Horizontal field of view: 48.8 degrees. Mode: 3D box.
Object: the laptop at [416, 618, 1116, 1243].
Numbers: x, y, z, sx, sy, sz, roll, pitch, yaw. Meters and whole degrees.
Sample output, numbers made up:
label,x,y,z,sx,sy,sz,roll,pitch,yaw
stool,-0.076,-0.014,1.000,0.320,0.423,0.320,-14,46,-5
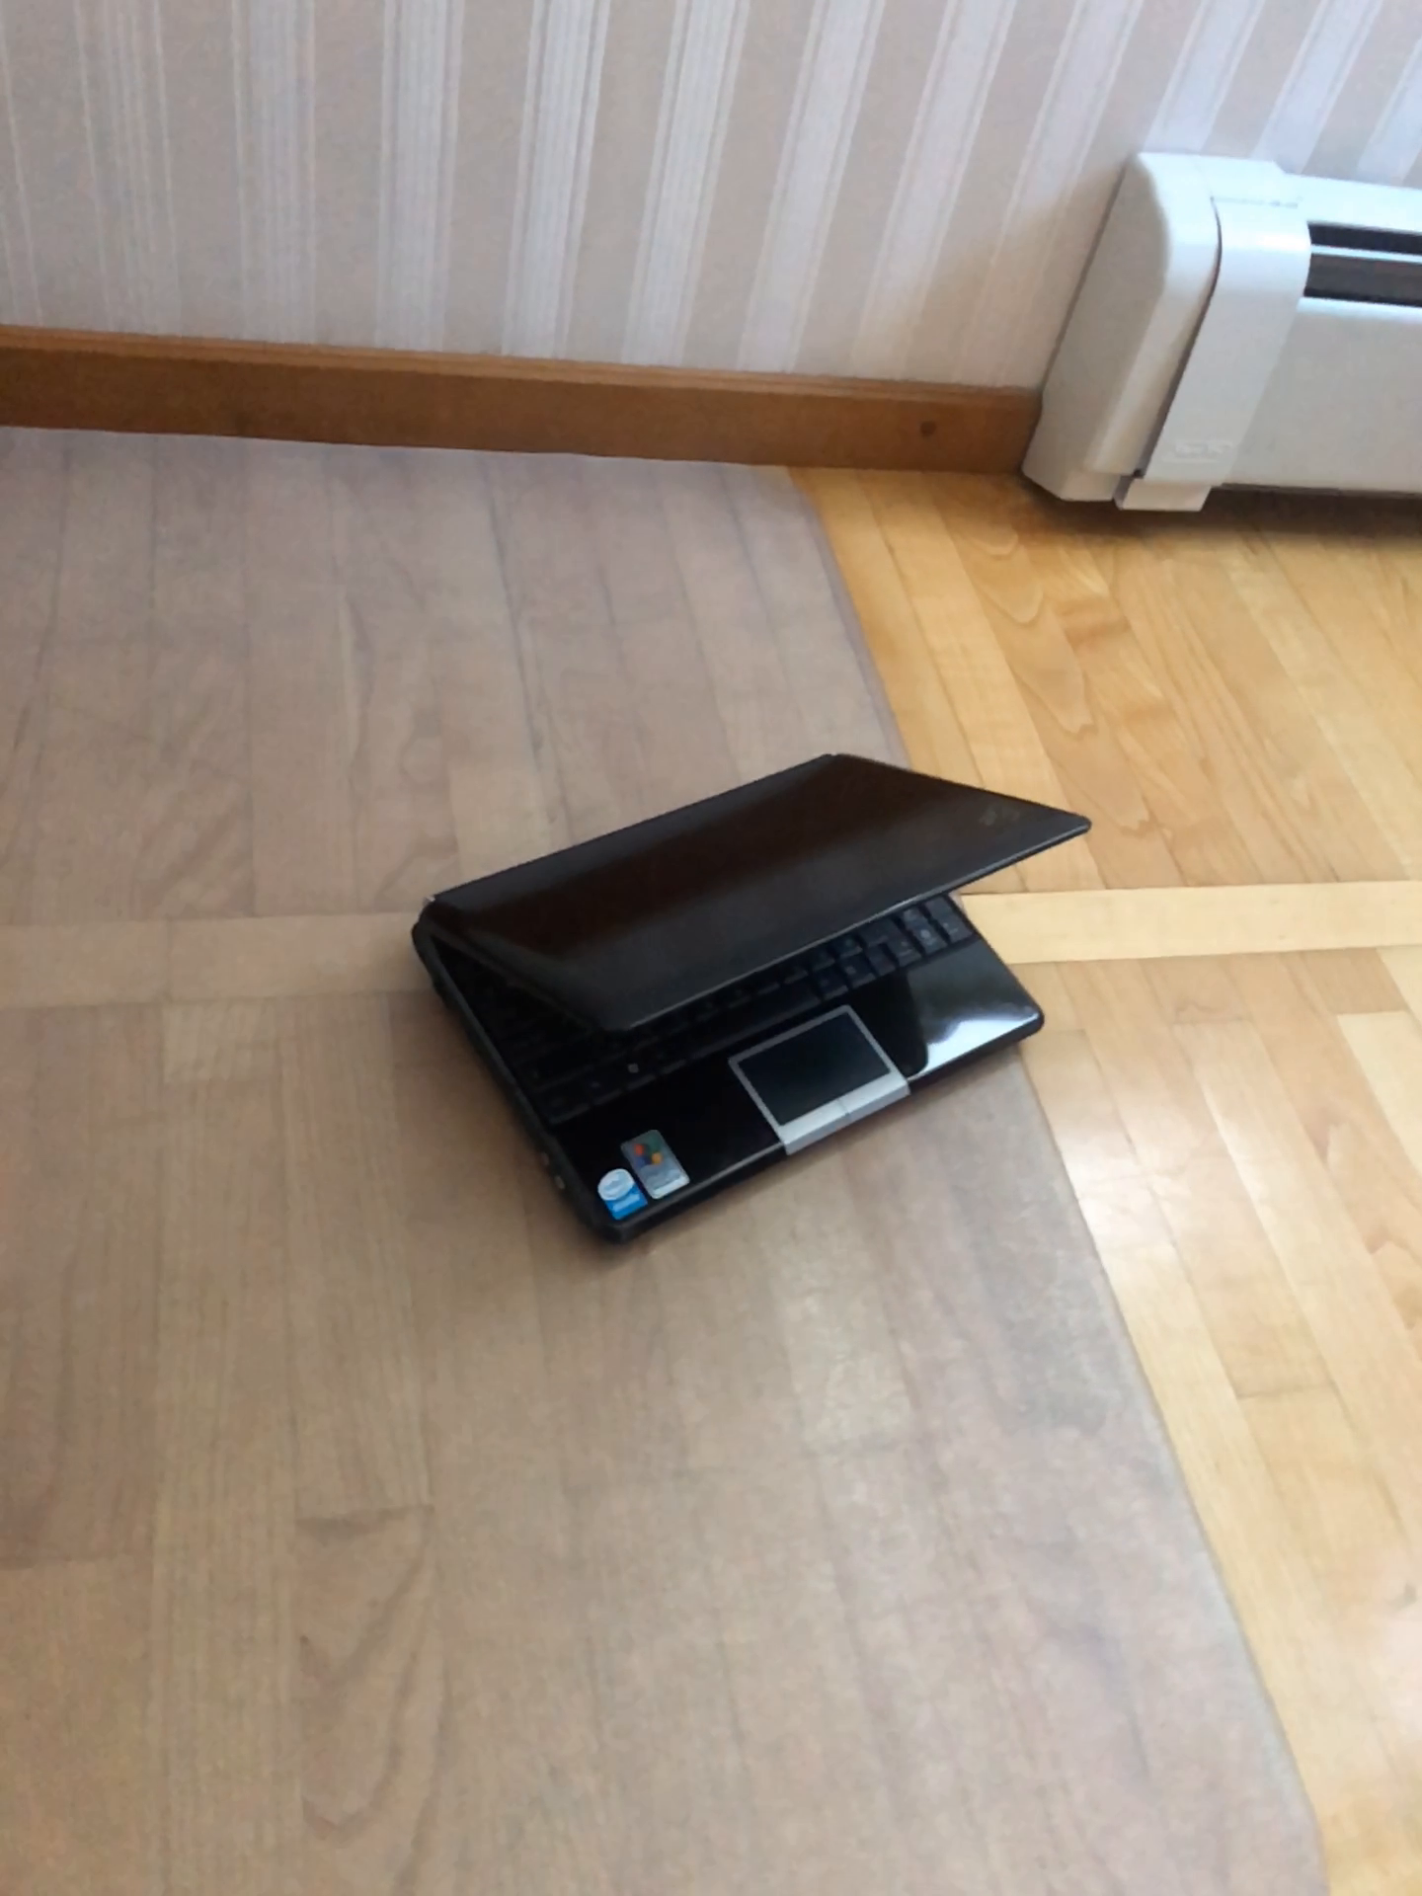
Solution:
label,x,y,z,sx,sy,sz,roll,pitch,yaw
laptop,0.024,-0.021,0.732,0.264,0.102,0.182,-23,63,-30
